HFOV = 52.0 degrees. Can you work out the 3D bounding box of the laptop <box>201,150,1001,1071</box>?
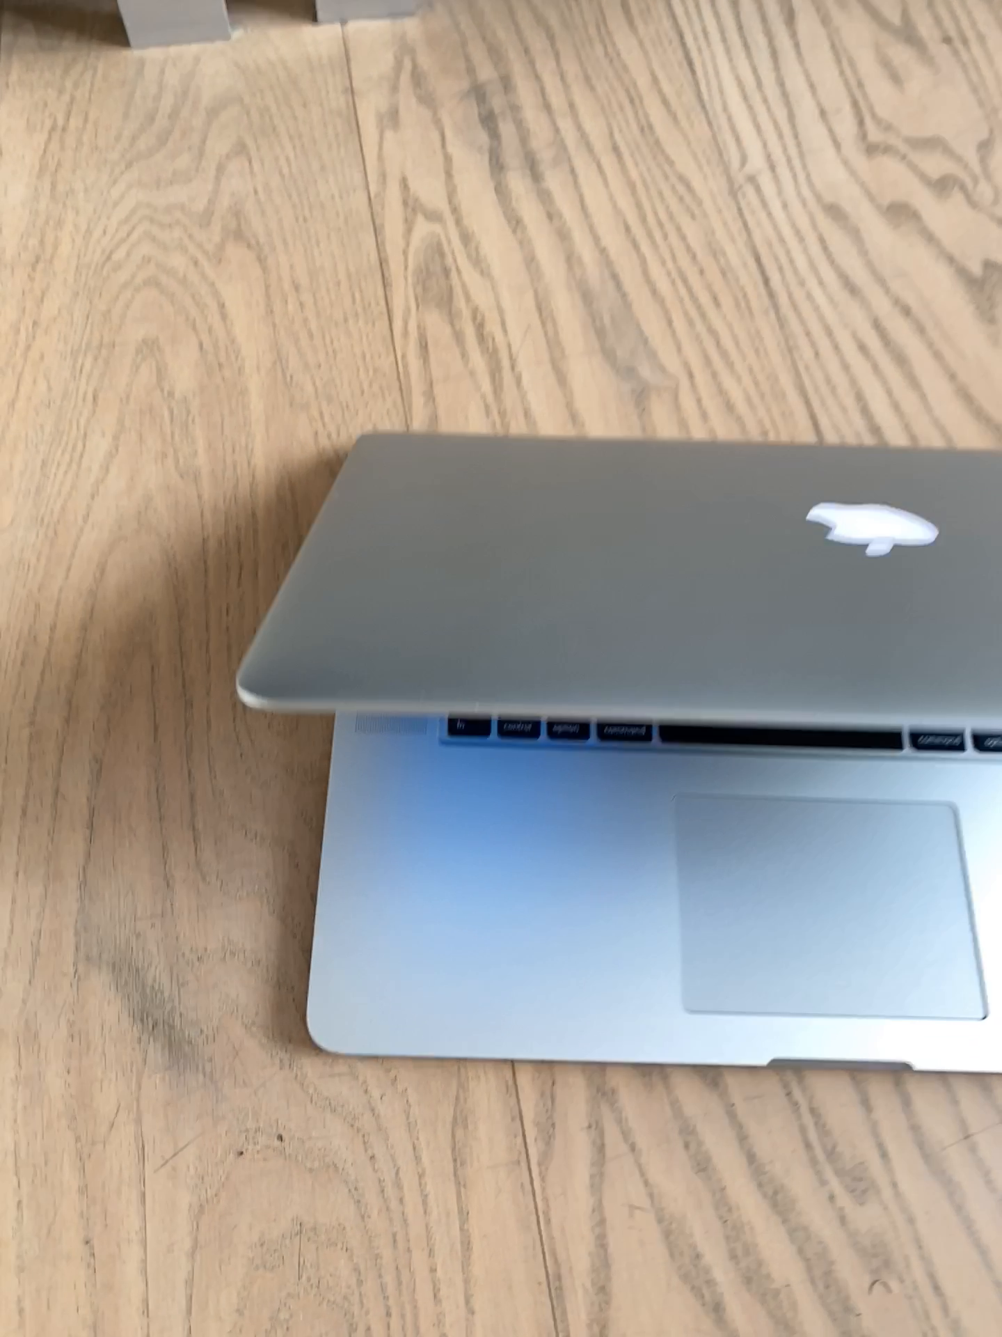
[{"bbox_3d":[0.121,-0.005,0.330,0.361,0.157,0.236,2,67,-1],"label":"laptop"}]
